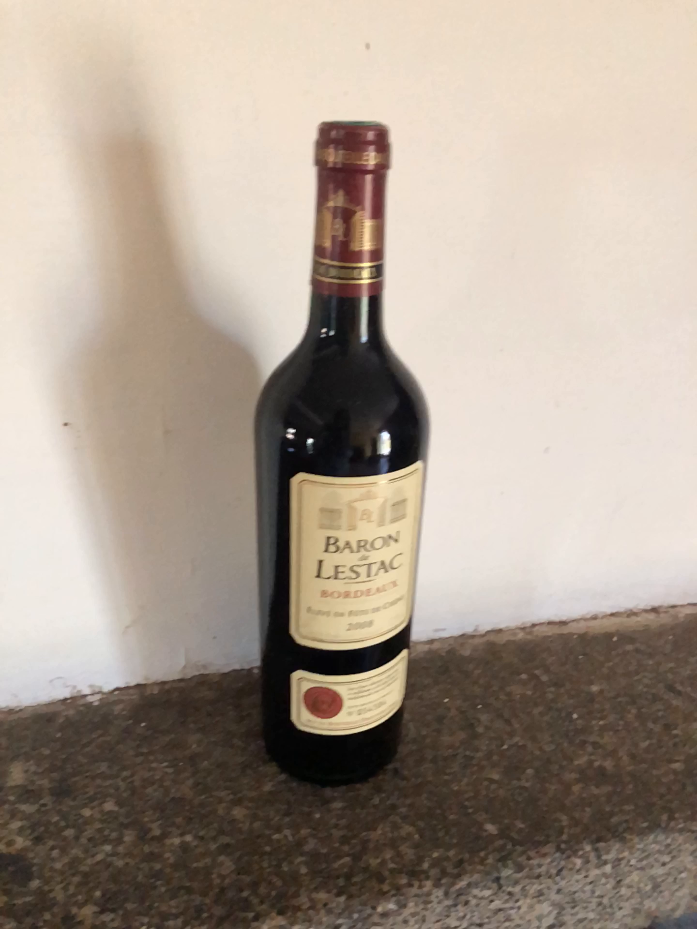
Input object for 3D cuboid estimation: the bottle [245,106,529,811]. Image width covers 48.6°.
[{"bbox_3d":[0.006,0.007,0.319,0.080,0.278,0.070,-5,25,-13],"label":"bottle"}]
